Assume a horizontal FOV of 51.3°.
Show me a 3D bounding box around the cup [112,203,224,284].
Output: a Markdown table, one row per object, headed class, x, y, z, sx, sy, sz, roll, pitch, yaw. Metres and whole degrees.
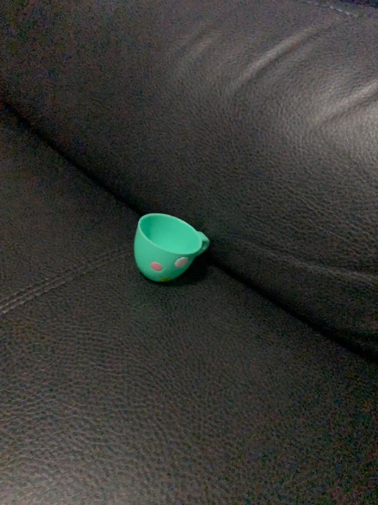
| class | x | y | z | sx | sy | sz | roll | pitch | yaw |
| --- | --- | --- | --- | --- | --- | --- | --- | --- | --- |
| cup | -0.017 | -0.006 | 0.296 | 0.063 | 0.030 | 0.054 | 5 | 34 | -32 |
